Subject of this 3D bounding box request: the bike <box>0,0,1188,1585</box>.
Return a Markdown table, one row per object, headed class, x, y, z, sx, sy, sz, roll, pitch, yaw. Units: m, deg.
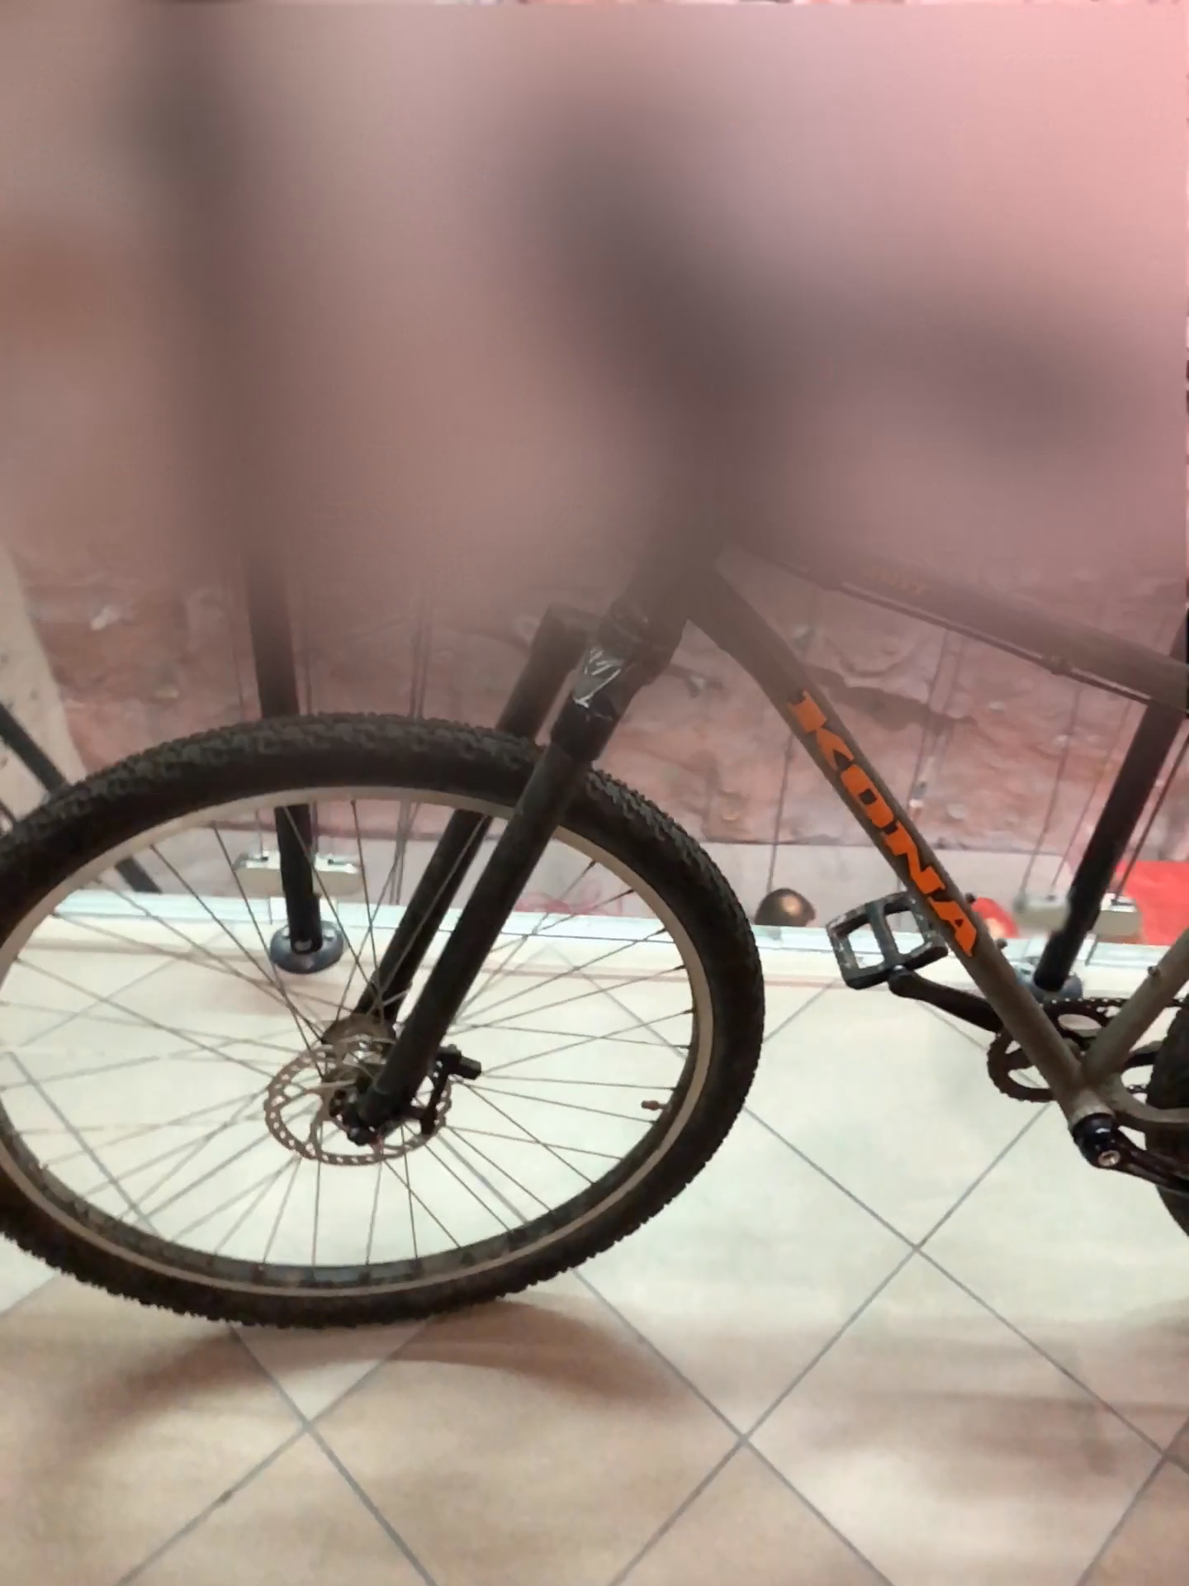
| class | x | y | z | sx | sy | sz | roll | pitch | yaw |
| --- | --- | --- | --- | --- | --- | --- | --- | --- | --- |
| bike | 0.374 | 0.021 | 1.115 | 1.821 | 1.099 | 0.753 | 2 | 40 | -7 |
